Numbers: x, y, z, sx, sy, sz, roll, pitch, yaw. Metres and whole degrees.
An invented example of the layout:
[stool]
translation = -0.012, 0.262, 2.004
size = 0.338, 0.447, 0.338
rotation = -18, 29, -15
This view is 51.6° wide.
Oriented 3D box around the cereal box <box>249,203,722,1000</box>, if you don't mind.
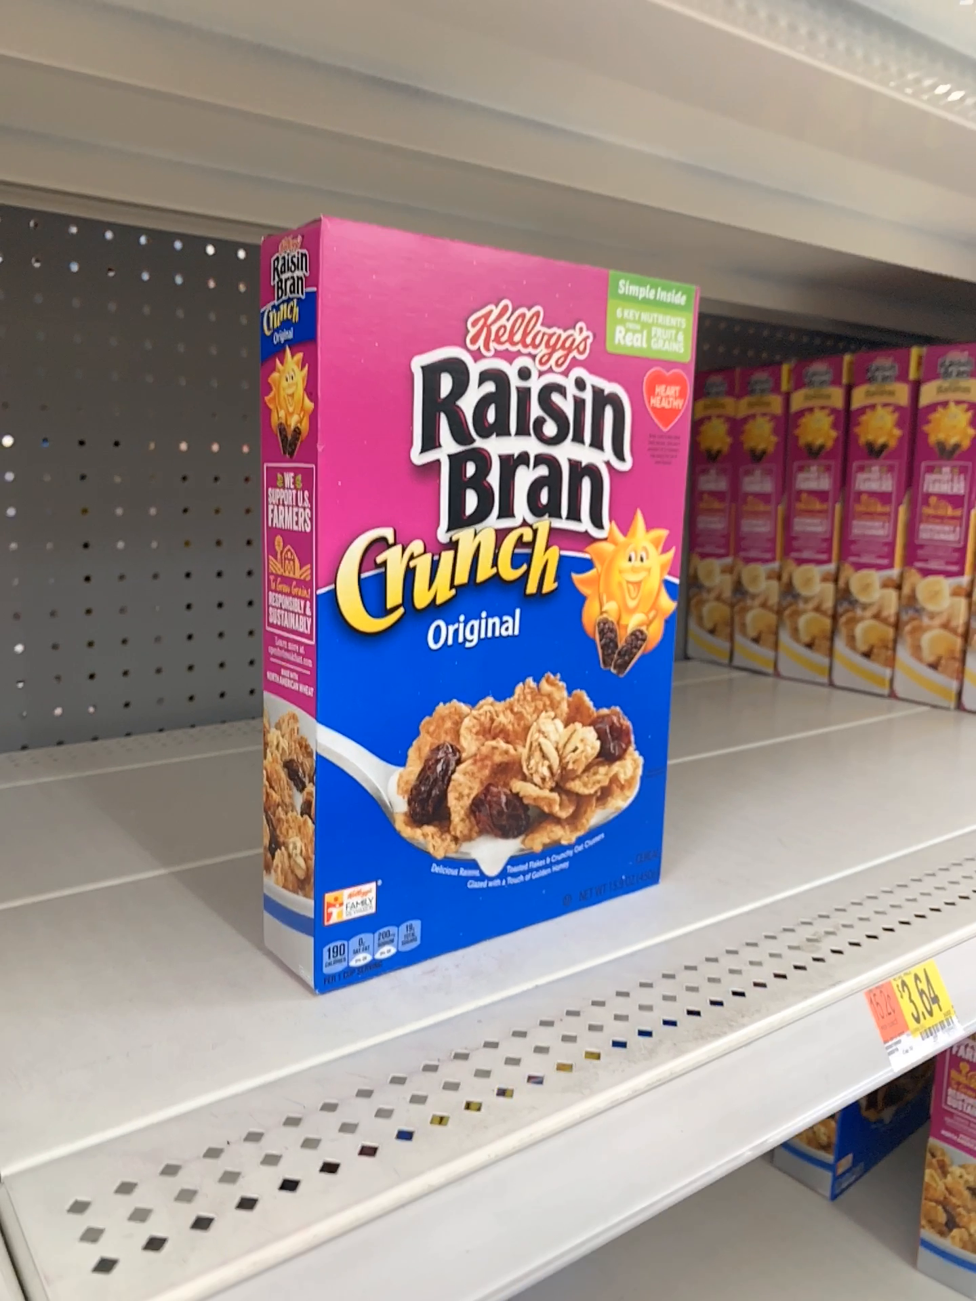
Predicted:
[cereal box]
translation = 0.006, -0.021, 0.431
size = 0.200, 0.279, 0.050
rotation = -6, 11, -36
